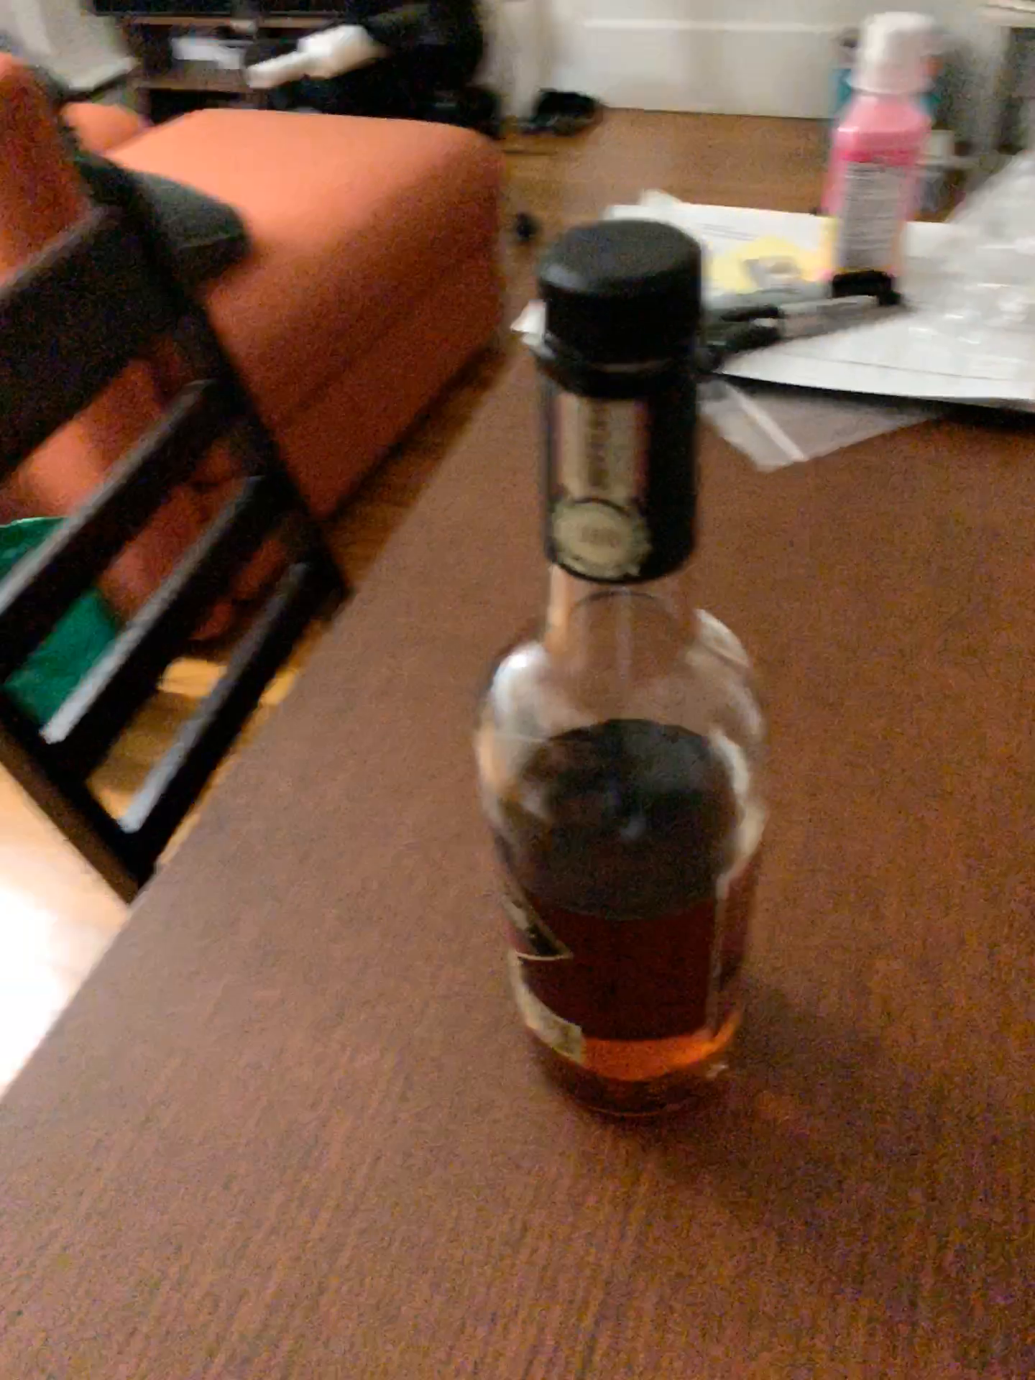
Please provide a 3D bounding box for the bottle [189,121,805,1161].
[{"bbox_3d":[0.014,0.020,0.286,0.090,0.288,0.090,-3,45,4],"label":"bottle"}]
